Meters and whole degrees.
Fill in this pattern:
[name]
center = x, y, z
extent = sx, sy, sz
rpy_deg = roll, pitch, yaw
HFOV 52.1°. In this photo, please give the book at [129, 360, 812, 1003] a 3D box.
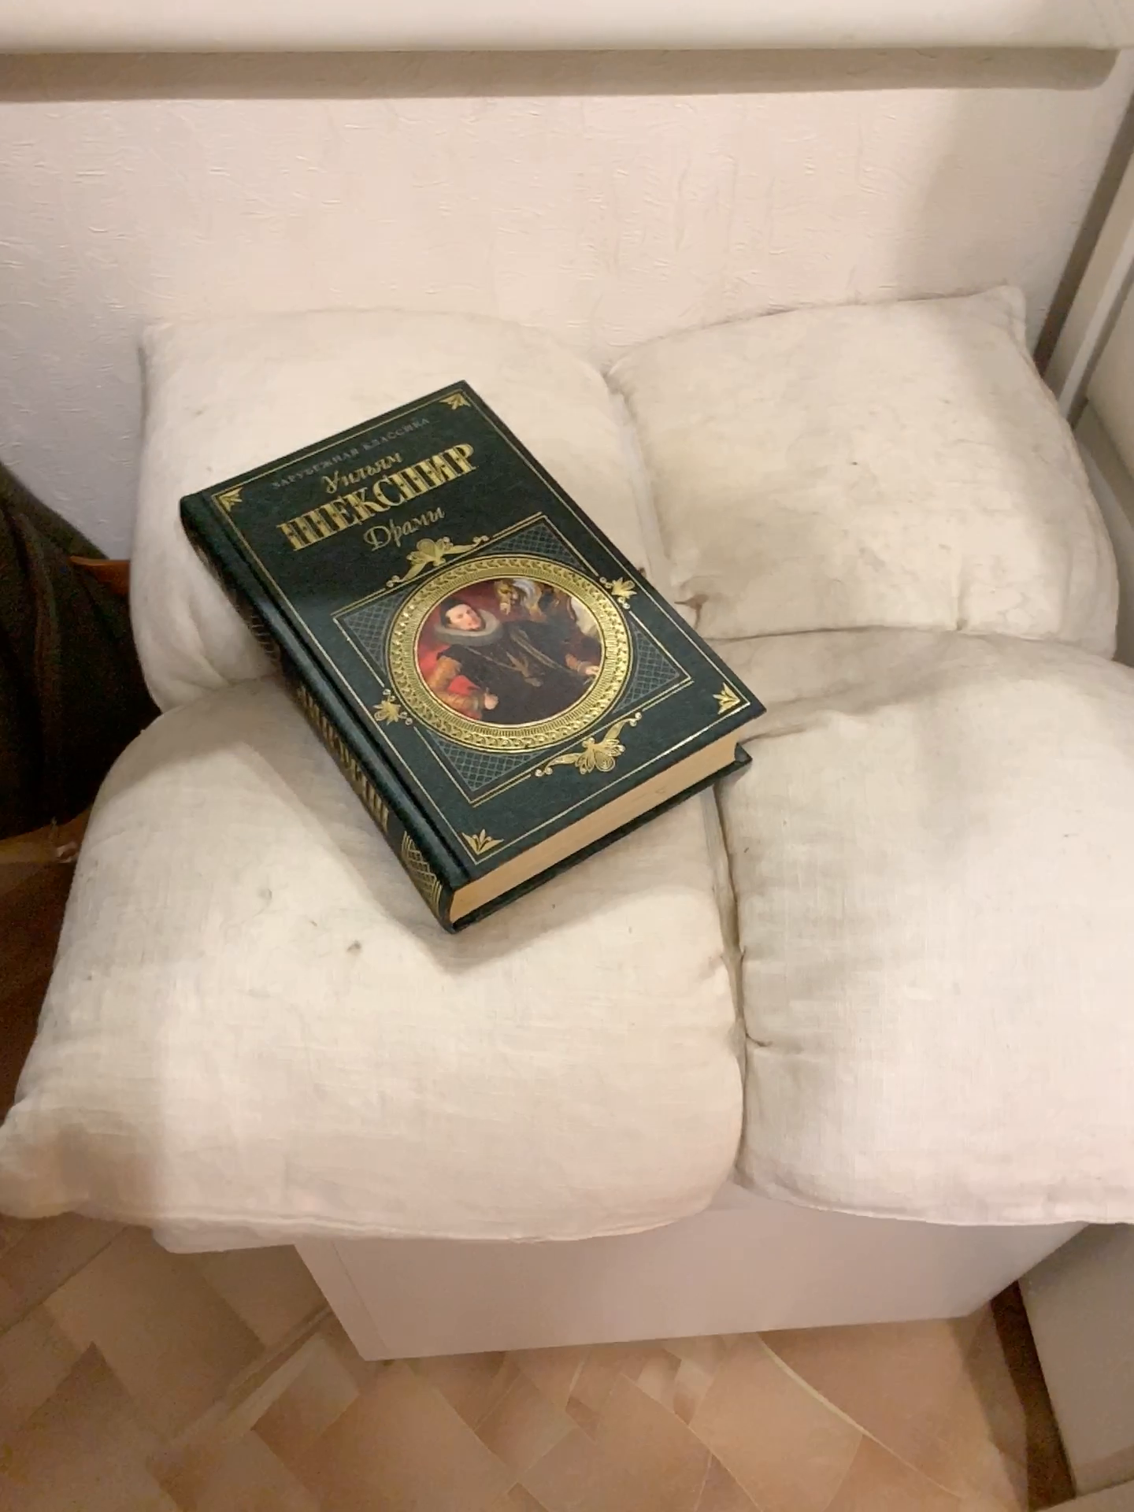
[book]
center = -0.042, -0.043, 0.429
extent = 0.150, 0.040, 0.221
rpy_deg = -28, 62, -19
